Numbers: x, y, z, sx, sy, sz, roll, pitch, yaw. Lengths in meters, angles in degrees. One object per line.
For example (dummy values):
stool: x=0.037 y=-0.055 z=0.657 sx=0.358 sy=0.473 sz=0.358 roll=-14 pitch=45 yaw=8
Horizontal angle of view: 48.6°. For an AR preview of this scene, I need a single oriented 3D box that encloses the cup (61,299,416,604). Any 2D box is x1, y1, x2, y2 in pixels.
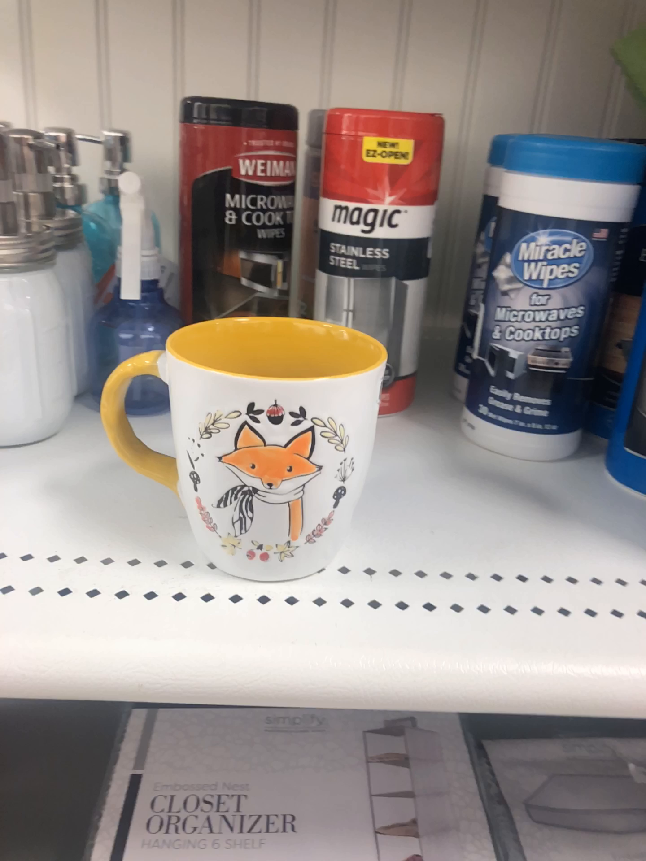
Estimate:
cup: x=-0.031 y=0.002 z=0.331 sx=0.133 sy=0.093 sz=0.100 roll=7 pitch=22 yaw=7
